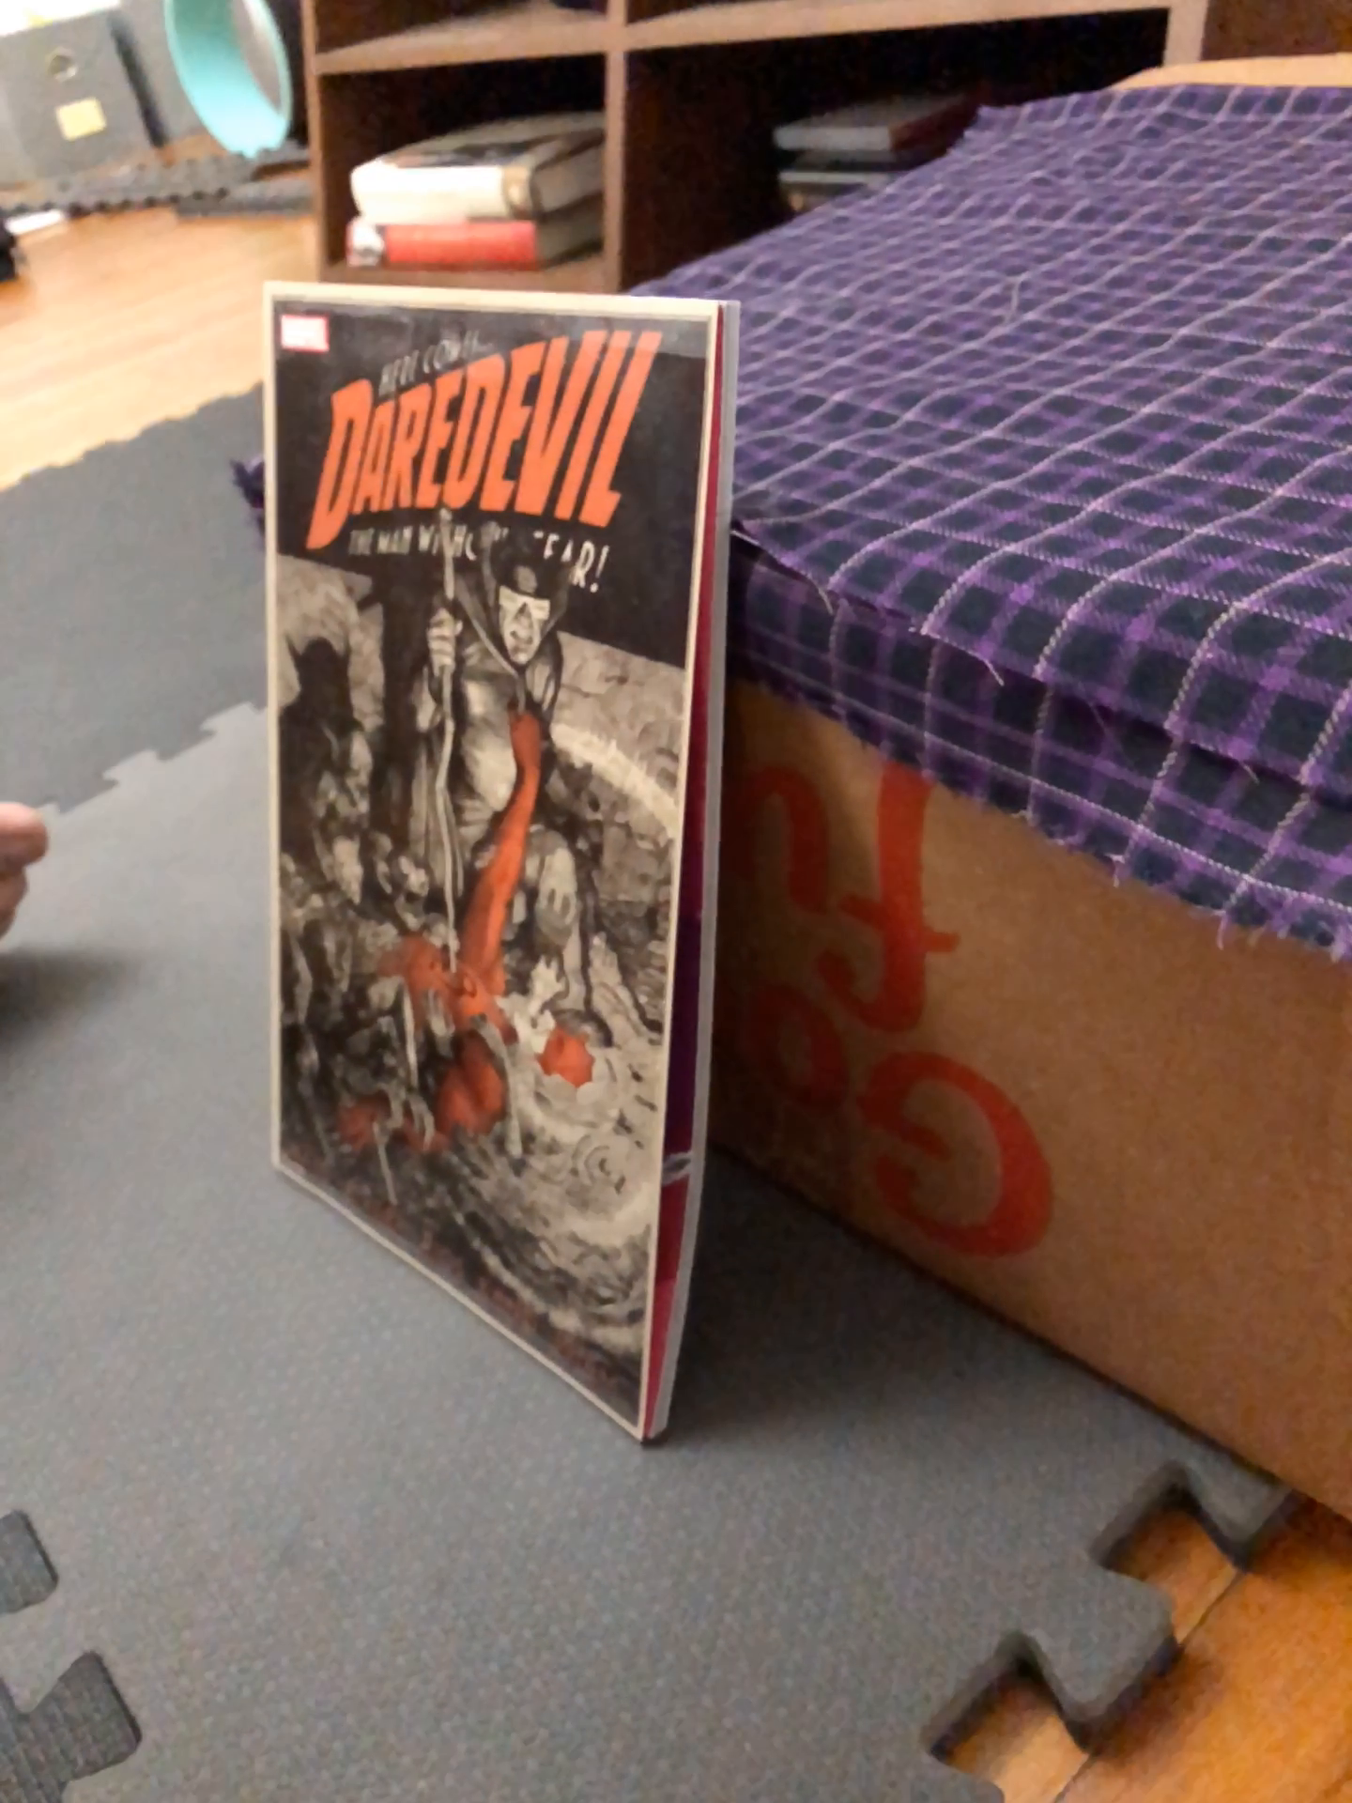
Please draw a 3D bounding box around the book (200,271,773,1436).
[{"bbox_3d":[-0.055,-0.018,0.344,0.161,0.229,0.020,22,26,40],"label":"book"}]
